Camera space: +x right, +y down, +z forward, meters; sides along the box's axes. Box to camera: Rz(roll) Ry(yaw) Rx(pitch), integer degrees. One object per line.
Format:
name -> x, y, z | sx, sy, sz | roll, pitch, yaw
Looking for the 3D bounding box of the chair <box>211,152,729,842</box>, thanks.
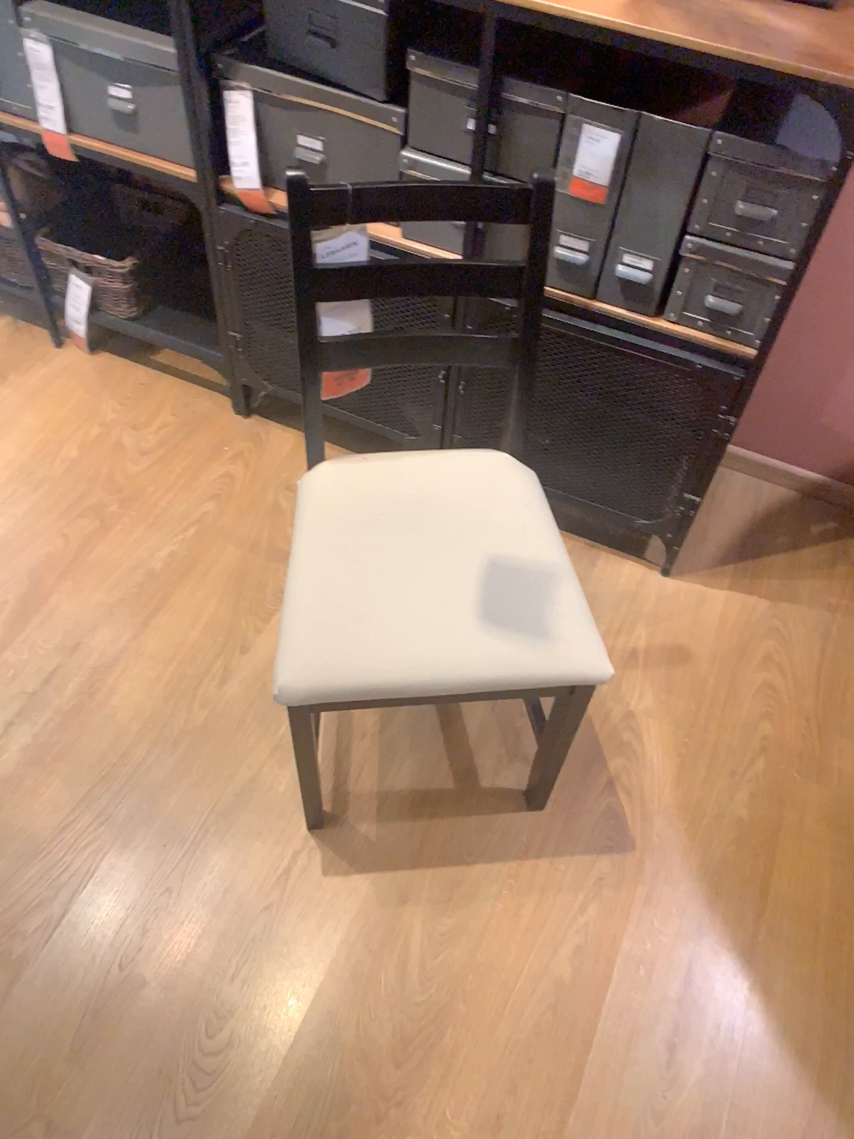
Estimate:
chair -> -0.002, -0.036, 1.110 | 0.400, 0.768, 0.471 | -2, 53, -5
